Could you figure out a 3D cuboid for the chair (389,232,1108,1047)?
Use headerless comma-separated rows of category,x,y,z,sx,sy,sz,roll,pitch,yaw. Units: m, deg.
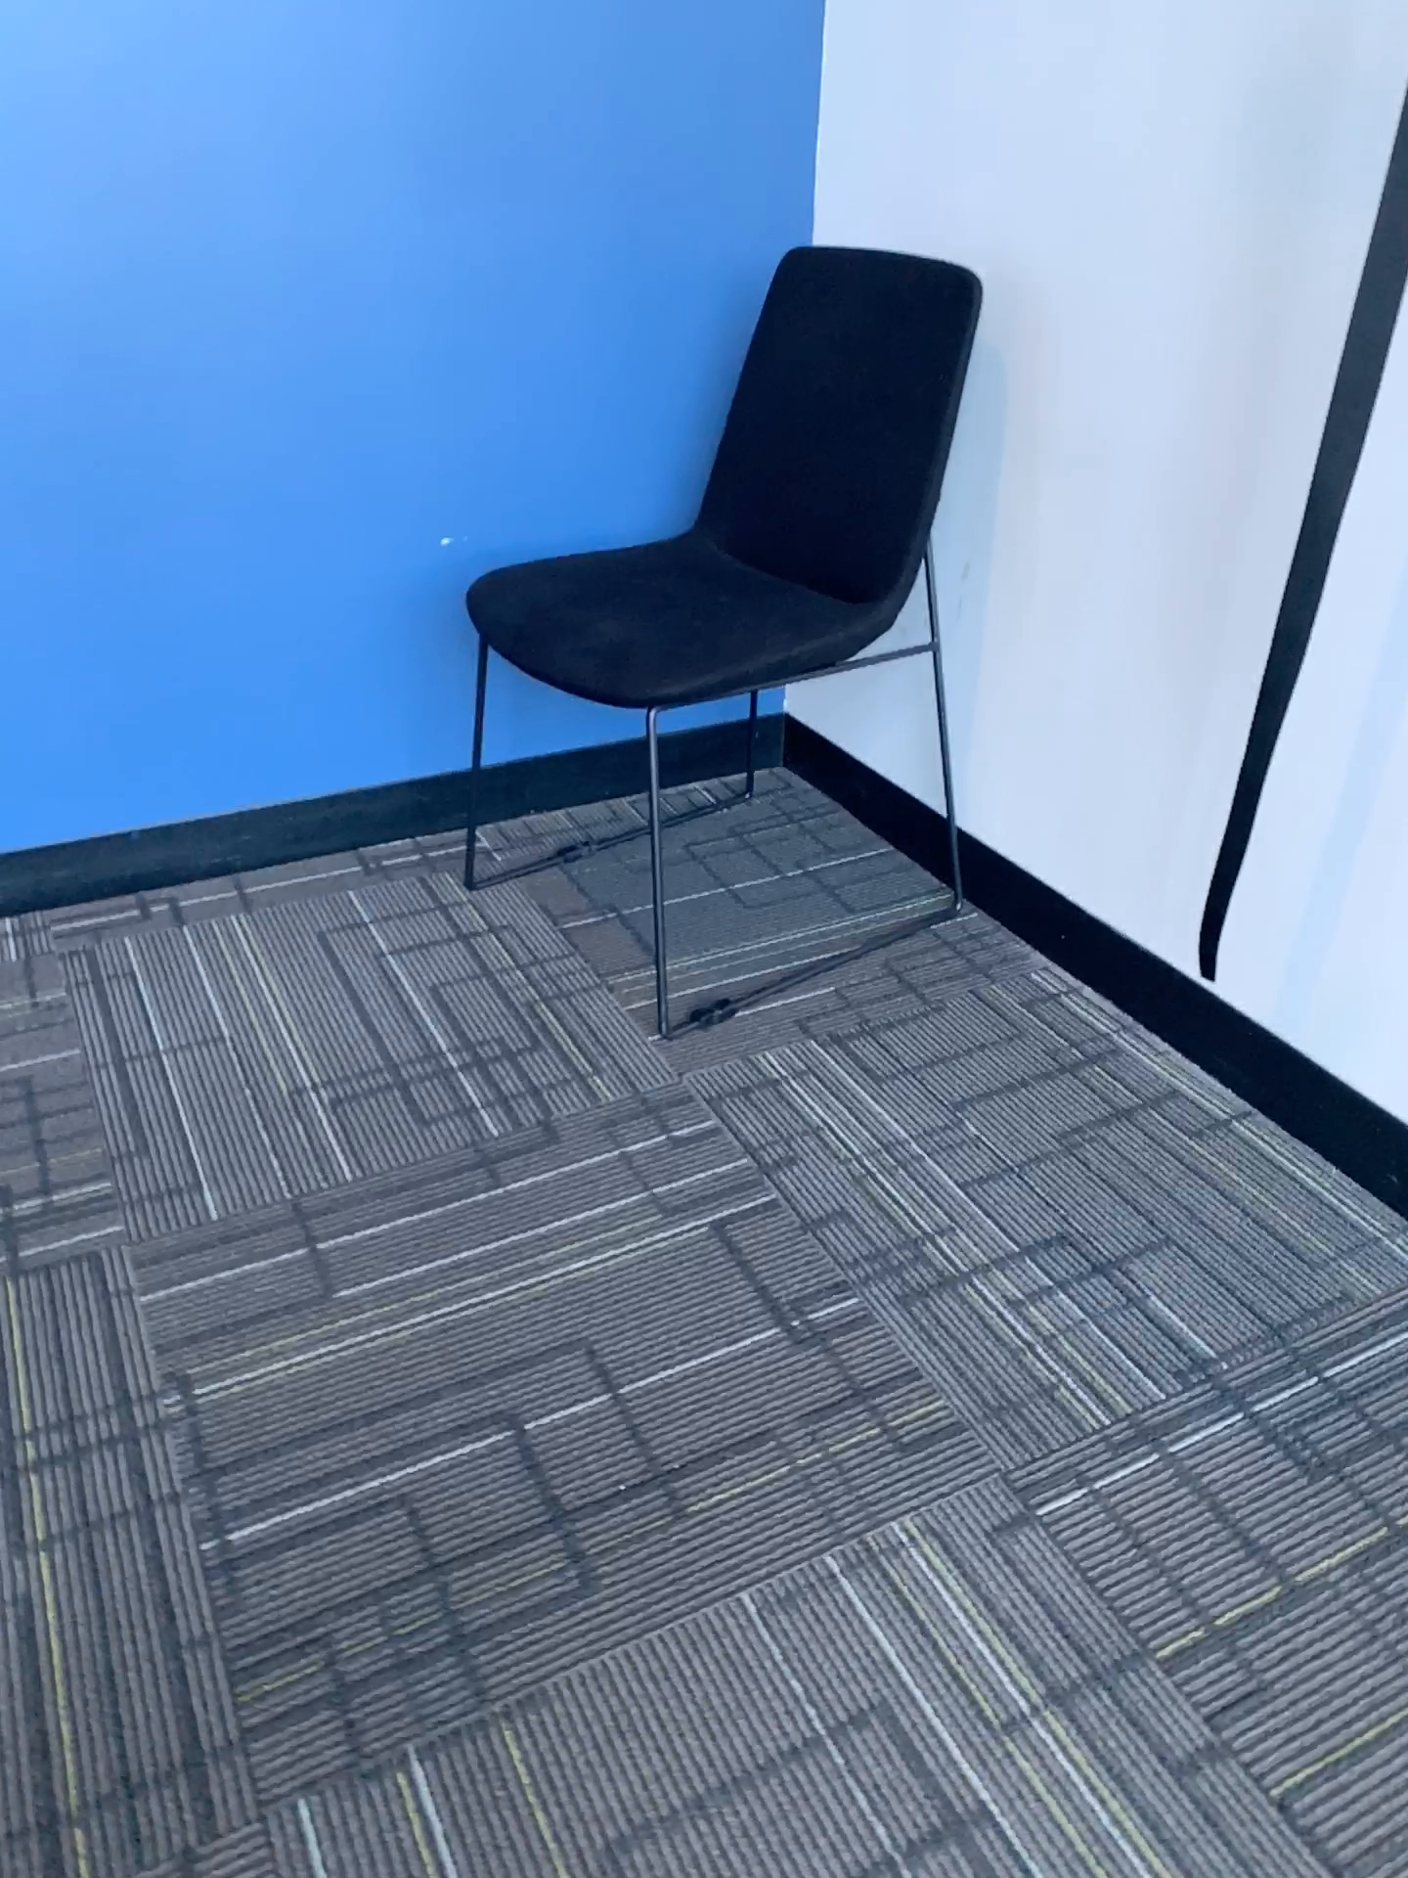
chair,0.035,-0.398,1.711,0.581,0.755,0.502,-20,37,-33
